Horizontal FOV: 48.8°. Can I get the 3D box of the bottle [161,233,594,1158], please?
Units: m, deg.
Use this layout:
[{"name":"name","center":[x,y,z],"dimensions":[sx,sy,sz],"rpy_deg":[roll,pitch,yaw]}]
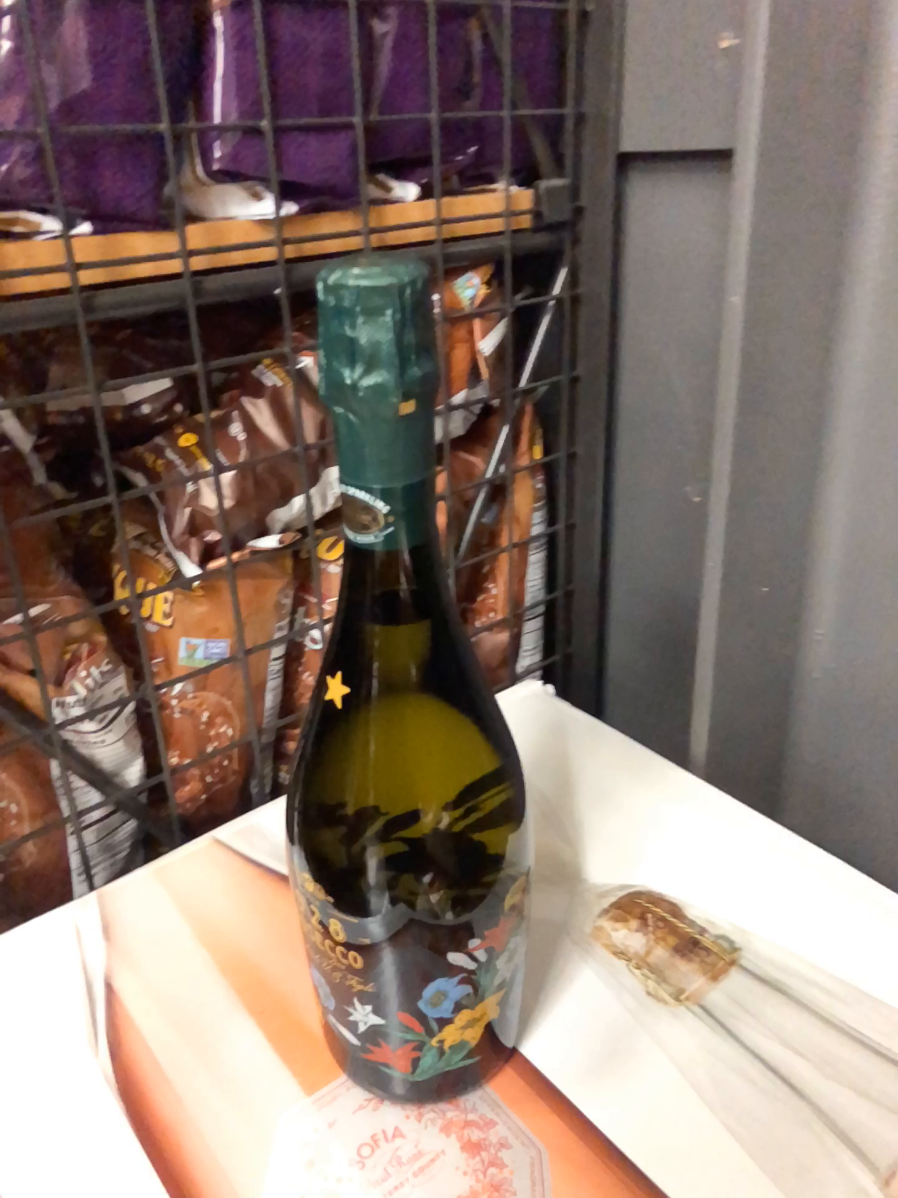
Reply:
[{"name":"bottle","center":[-0.017,0.036,0.348],"dimensions":[0.090,0.299,0.090],"rpy_deg":[-2,24,1]}]
